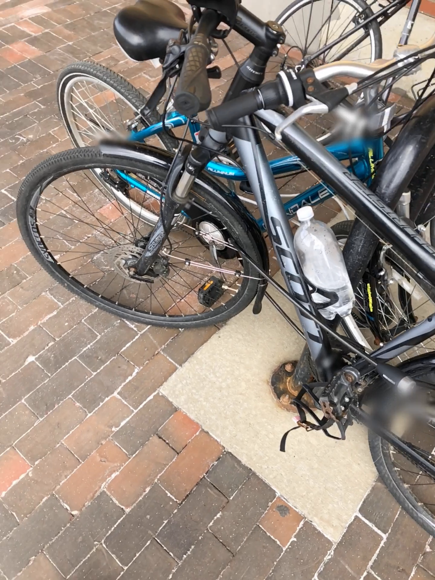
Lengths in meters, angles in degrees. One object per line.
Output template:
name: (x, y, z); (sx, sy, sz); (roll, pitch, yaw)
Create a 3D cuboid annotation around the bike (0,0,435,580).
bike: (0.175, 0.015, 0.969); (1.509, 0.941, 0.675); (27, 55, 19)
